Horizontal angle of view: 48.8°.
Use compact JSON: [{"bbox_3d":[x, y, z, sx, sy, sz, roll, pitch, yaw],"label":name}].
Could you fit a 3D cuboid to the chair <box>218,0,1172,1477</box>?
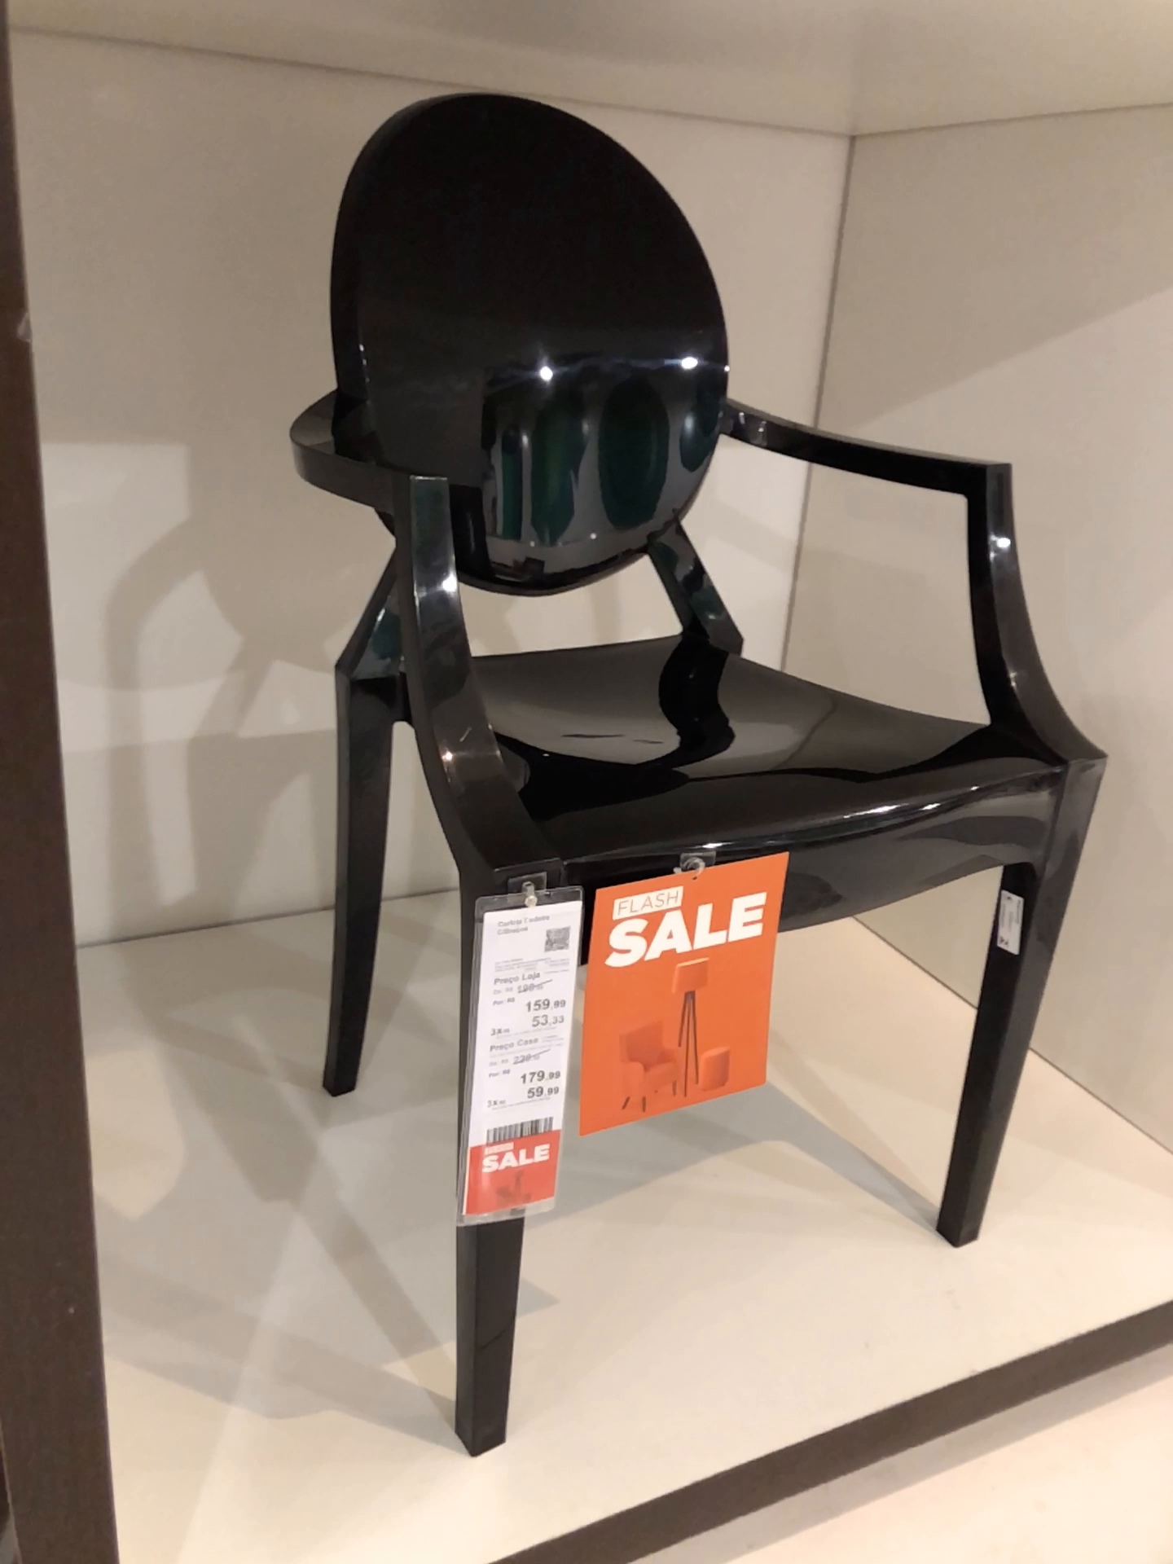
[{"bbox_3d":[0.055,-0.074,0.998,0.511,0.854,0.492,-9,24,-30],"label":"chair"}]
